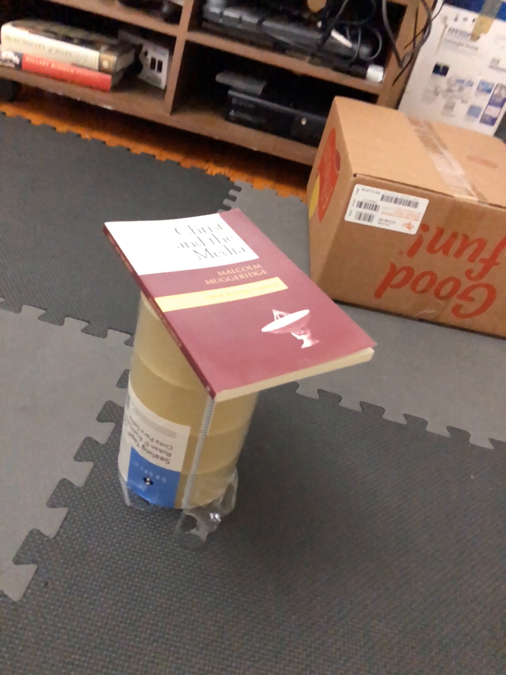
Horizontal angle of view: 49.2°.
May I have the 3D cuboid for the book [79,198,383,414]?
[{"bbox_3d":[-0.025,-0.042,0.411,0.140,0.020,0.211,-12,45,-32],"label":"book"}]
